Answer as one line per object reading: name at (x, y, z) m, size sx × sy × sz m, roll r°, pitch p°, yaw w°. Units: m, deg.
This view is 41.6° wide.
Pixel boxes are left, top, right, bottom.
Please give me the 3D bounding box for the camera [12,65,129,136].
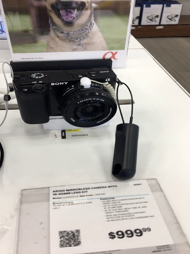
camera at (-0.037, -0.040, 0.352) m, size 0.141 × 0.065 × 0.076 m, roll -6°, pitch 41°, yaw -9°
